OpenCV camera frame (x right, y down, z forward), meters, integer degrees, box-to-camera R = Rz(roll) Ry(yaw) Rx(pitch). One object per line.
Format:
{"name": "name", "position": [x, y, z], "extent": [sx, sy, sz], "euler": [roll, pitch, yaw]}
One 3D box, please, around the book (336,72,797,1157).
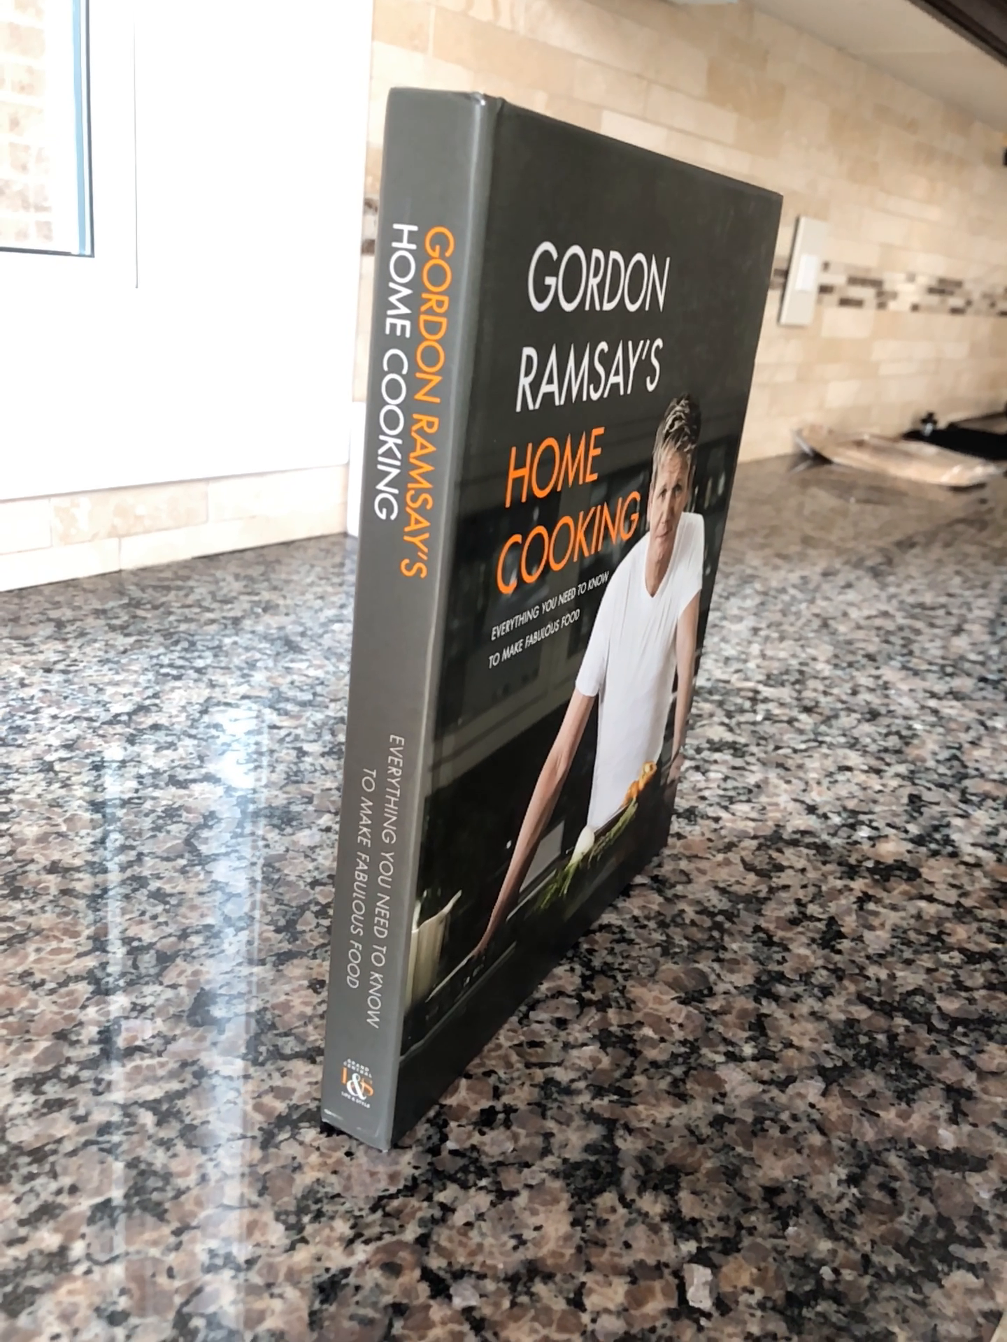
{"name": "book", "position": [0.029, -0.024, 0.355], "extent": [0.028, 0.261, 0.217], "euler": [15, 22, 24]}
